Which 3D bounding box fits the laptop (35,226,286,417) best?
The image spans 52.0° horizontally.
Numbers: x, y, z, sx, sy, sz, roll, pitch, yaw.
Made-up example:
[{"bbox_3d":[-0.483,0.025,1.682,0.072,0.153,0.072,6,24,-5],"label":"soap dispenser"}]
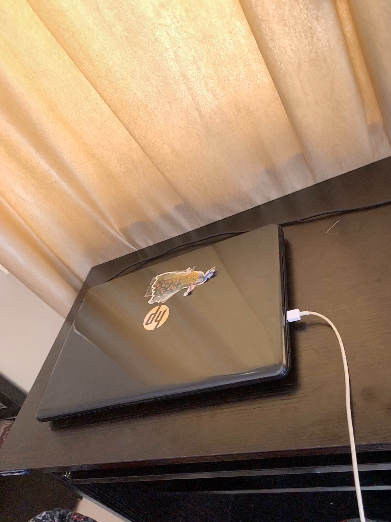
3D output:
[{"bbox_3d":[-0.053,0.086,0.572,0.374,0.006,0.238,-19,36,26],"label":"laptop"}]
